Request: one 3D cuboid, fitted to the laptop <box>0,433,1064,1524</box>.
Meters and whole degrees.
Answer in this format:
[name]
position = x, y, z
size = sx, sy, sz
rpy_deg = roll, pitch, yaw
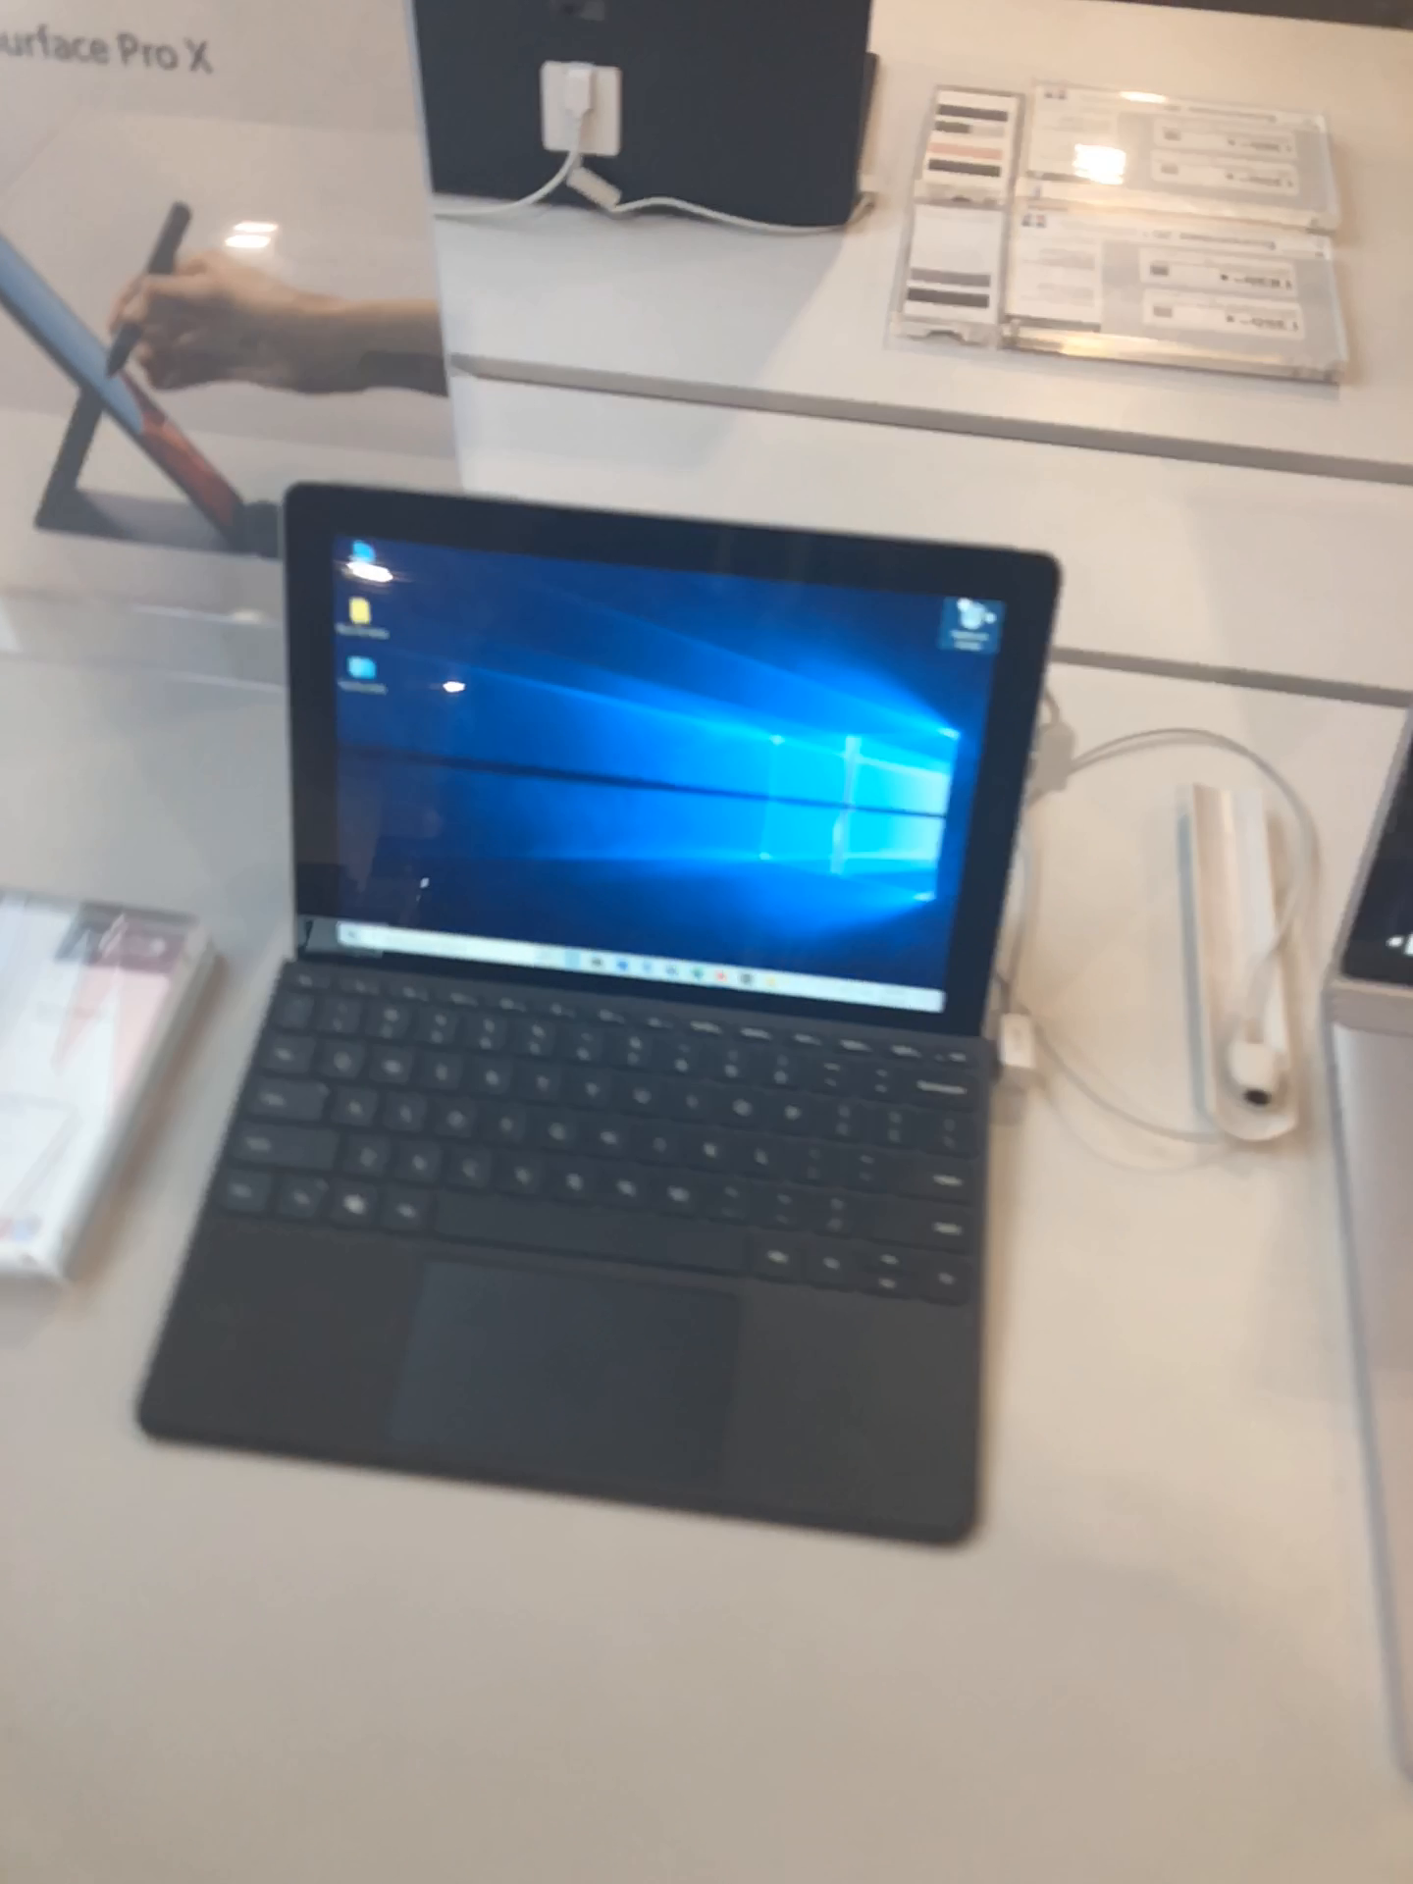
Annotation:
[laptop]
position = -0.032, 0.004, 0.454
size = 0.236, 0.140, 0.251
rpy_deg = 6, 55, 1
